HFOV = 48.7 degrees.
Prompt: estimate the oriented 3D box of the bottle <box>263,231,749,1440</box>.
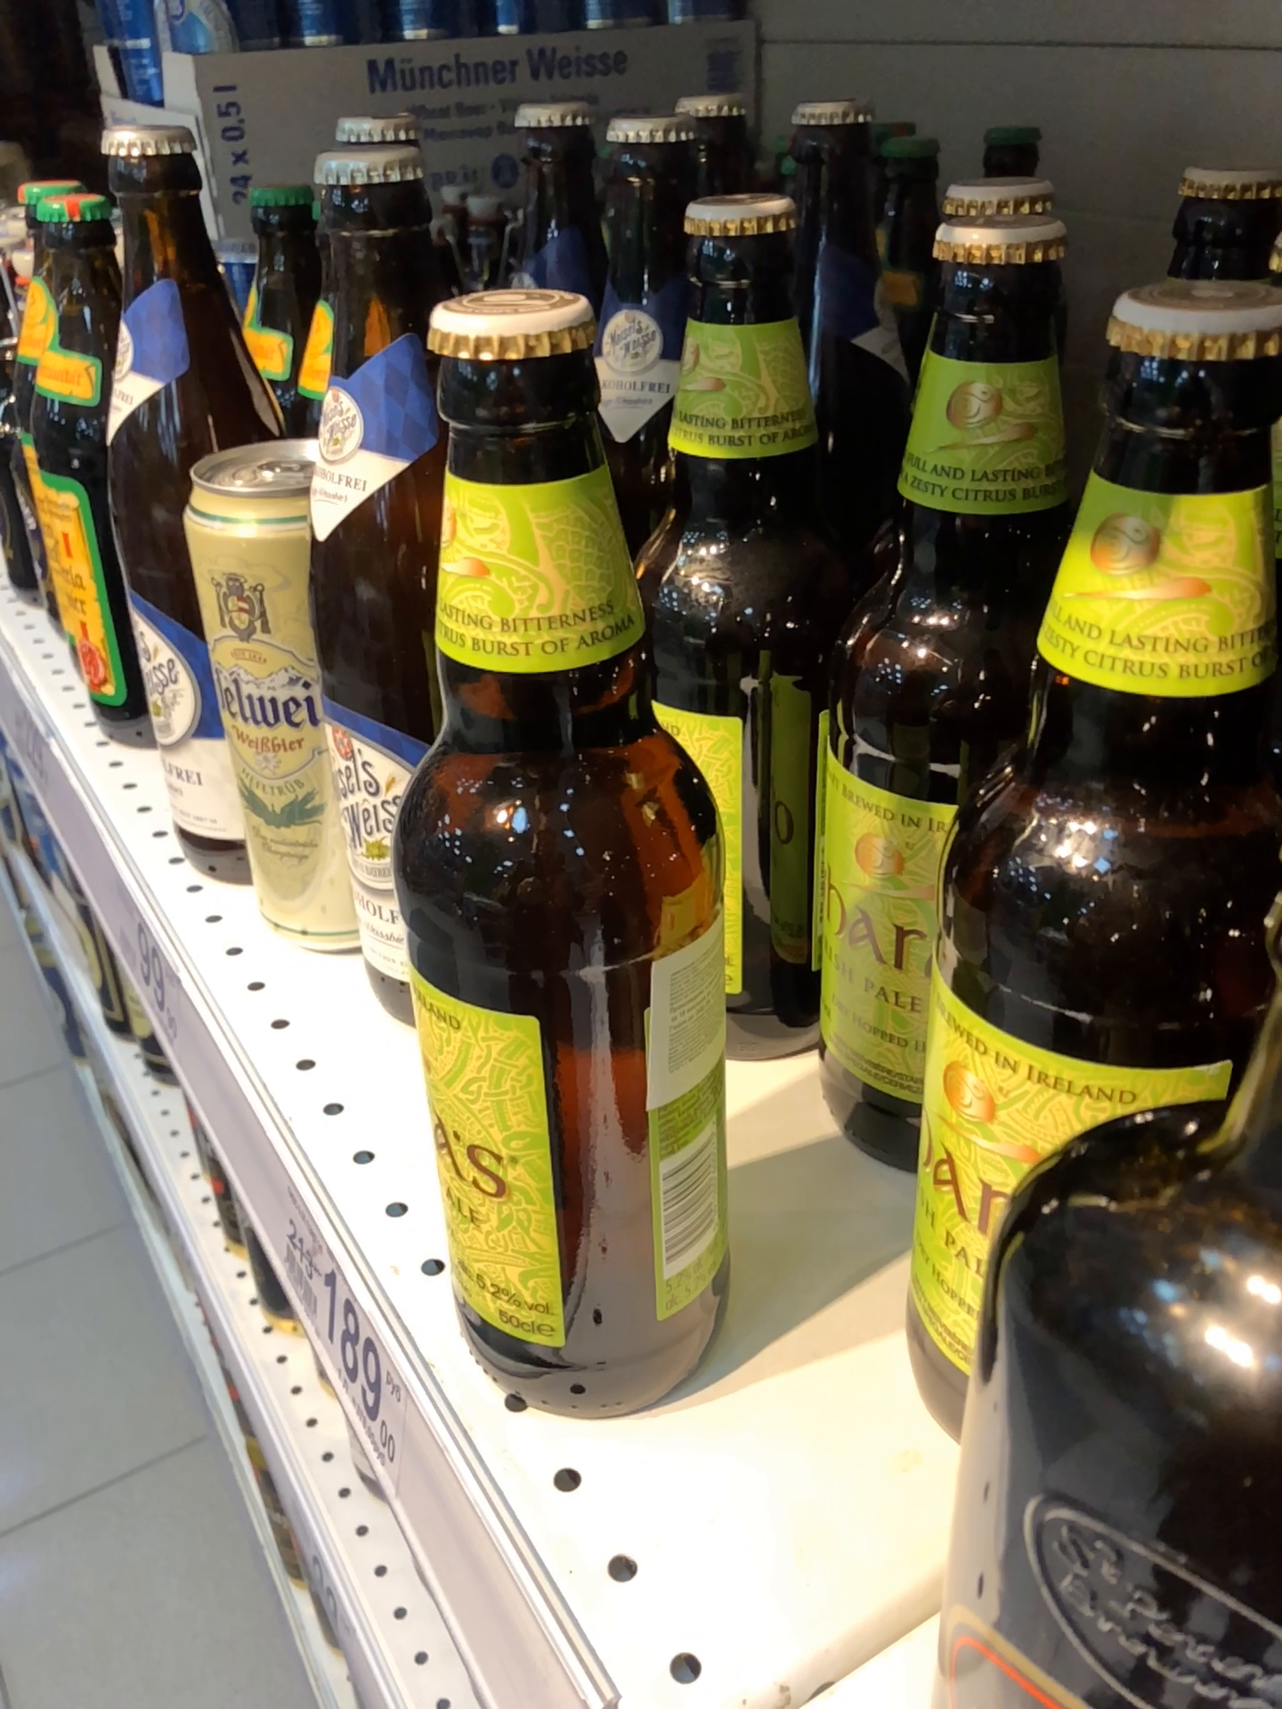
[{"bbox_3d":[-0.014,0.011,0.297,0.070,0.250,0.070,-2,31,1],"label":"bottle"}]
